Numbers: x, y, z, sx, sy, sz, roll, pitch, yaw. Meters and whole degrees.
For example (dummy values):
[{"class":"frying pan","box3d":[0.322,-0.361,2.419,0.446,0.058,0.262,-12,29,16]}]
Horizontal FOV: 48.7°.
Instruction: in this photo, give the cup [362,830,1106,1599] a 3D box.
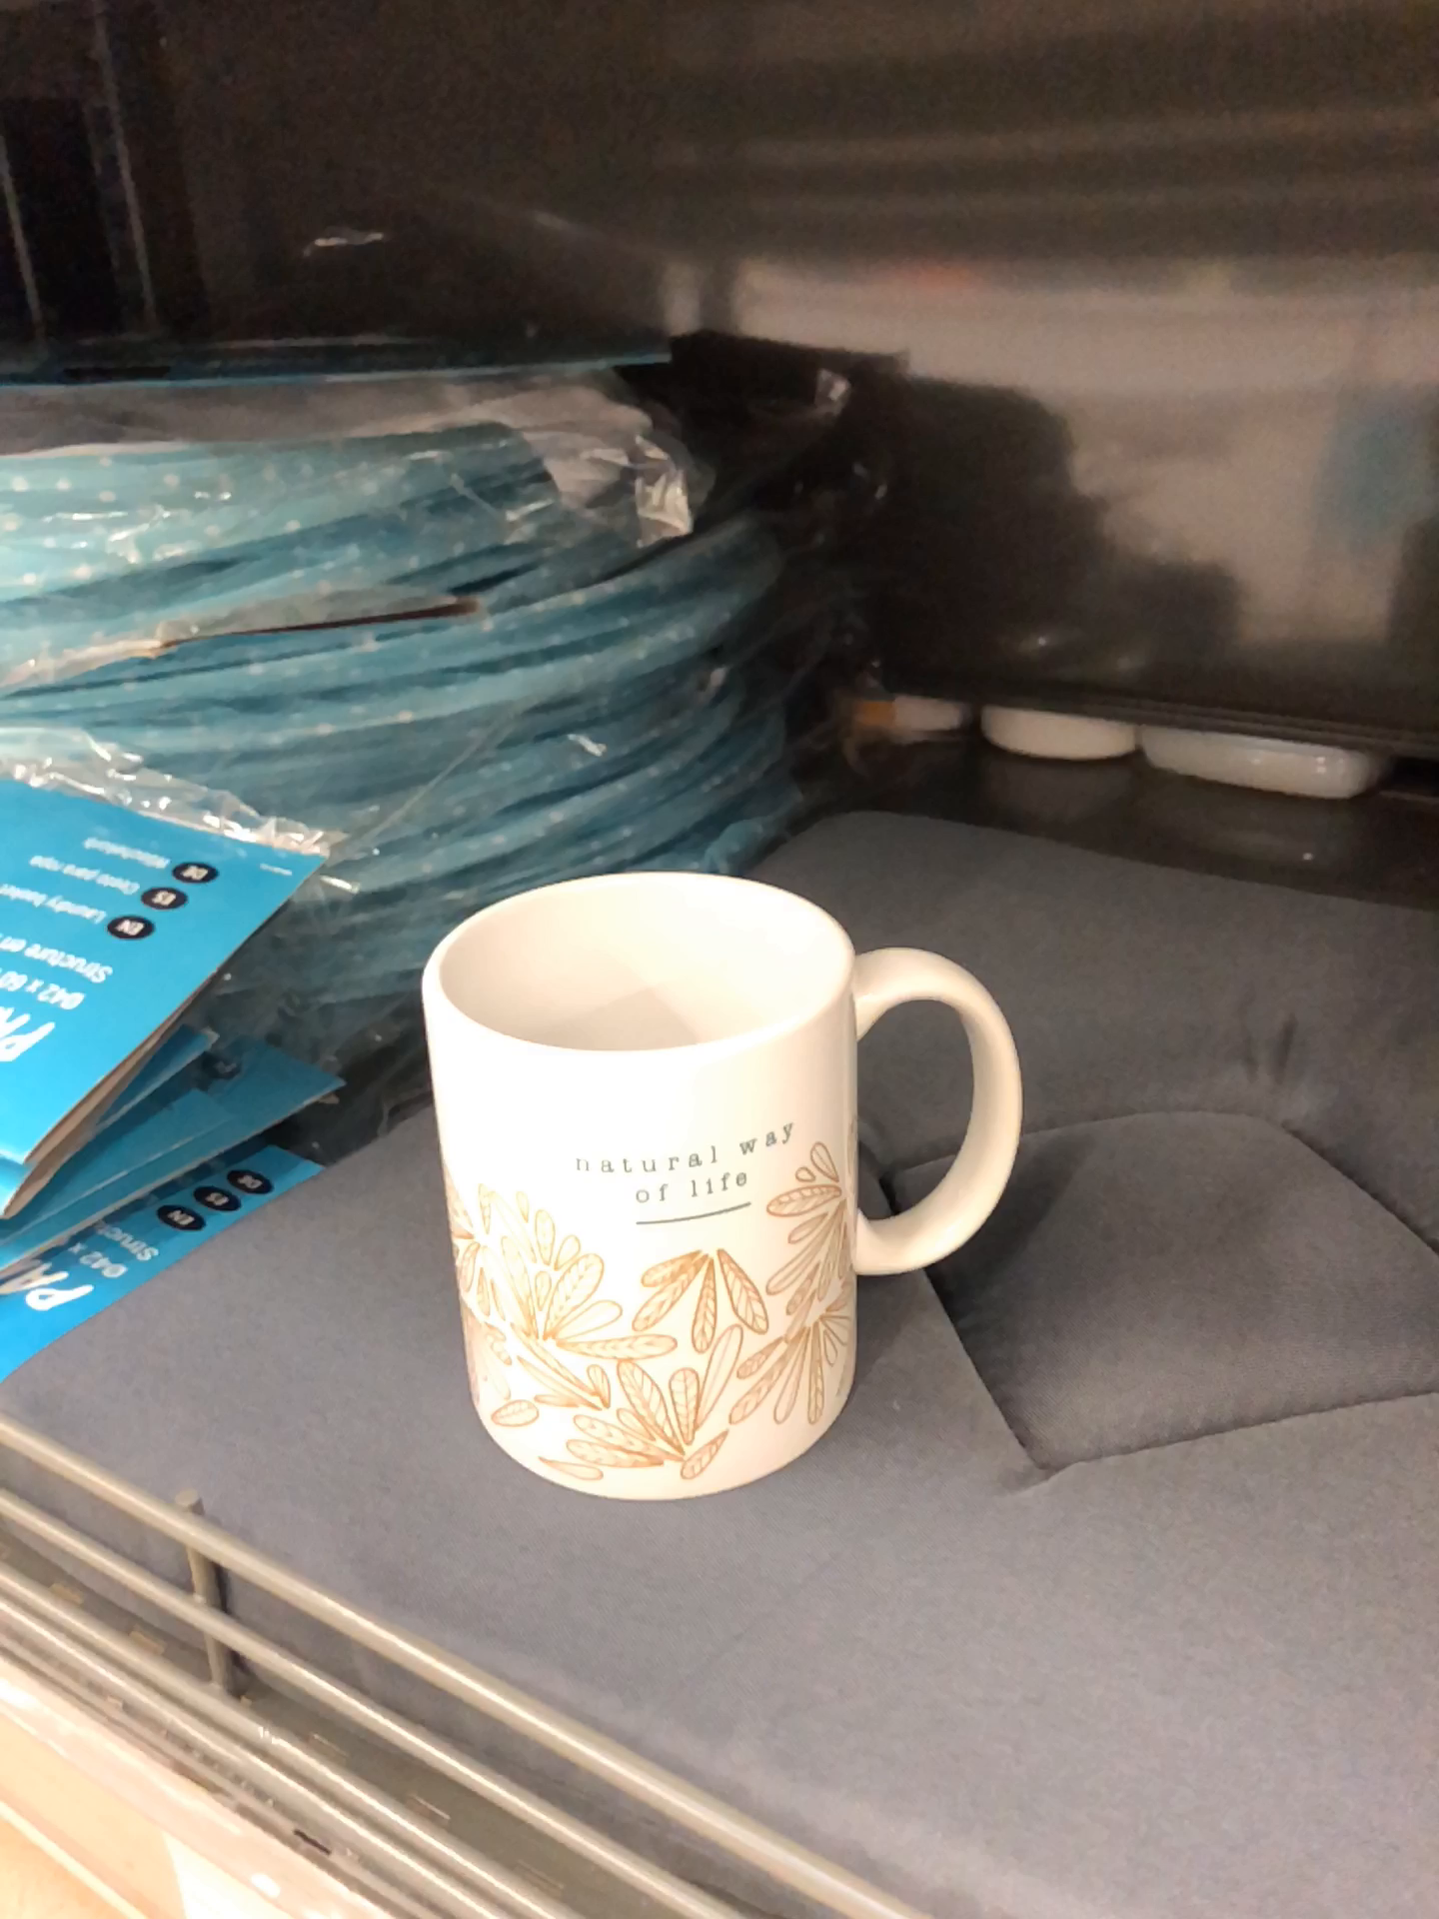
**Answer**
[{"class":"cup","box3d":[-0.001,0.043,0.319,0.120,0.099,0.090,-9,25,-13]}]
